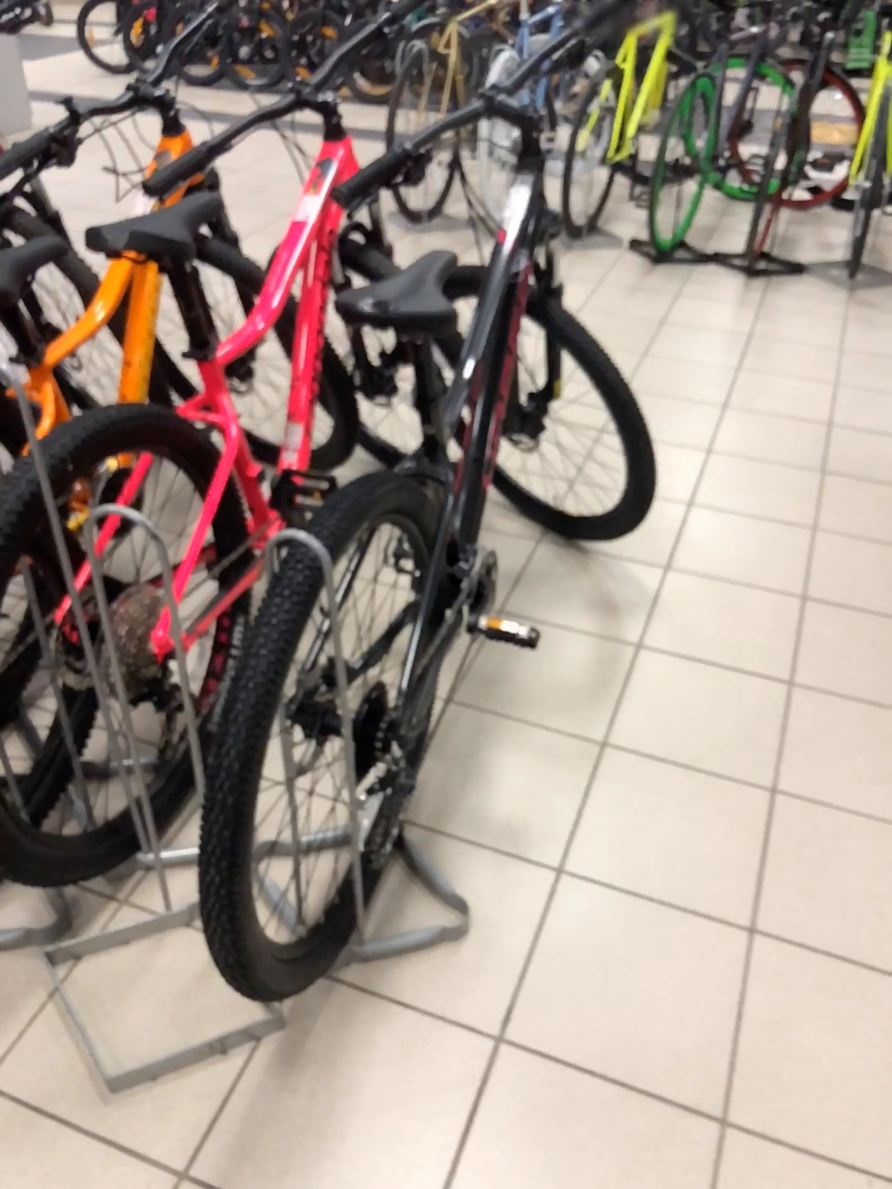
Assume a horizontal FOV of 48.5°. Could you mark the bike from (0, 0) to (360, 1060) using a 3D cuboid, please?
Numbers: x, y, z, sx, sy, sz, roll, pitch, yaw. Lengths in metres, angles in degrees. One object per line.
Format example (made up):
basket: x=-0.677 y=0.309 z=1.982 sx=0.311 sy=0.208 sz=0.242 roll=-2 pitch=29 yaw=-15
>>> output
bike: x=-0.609 y=-0.369 z=1.724 sx=0.653 sy=1.074 sz=1.573 roll=6 pitch=36 yaw=6

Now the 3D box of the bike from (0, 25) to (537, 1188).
bike: x=-0.241 y=-0.236 z=1.613 sx=0.684 sy=1.101 sz=1.588 roll=6 pitch=33 yaw=6
